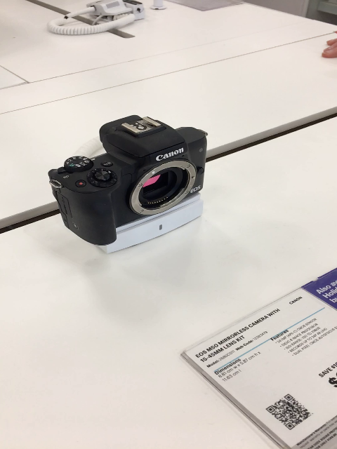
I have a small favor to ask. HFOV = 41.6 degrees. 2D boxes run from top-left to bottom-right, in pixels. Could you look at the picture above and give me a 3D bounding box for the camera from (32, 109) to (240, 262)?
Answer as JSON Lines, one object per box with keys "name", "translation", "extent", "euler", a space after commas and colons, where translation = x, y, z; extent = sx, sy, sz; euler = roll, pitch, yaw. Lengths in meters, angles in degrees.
{"name": "camera", "translation": [-0.021, -0.033, 0.350], "extent": [0.129, 0.075, 0.058], "euler": [-27, 52, -26]}
